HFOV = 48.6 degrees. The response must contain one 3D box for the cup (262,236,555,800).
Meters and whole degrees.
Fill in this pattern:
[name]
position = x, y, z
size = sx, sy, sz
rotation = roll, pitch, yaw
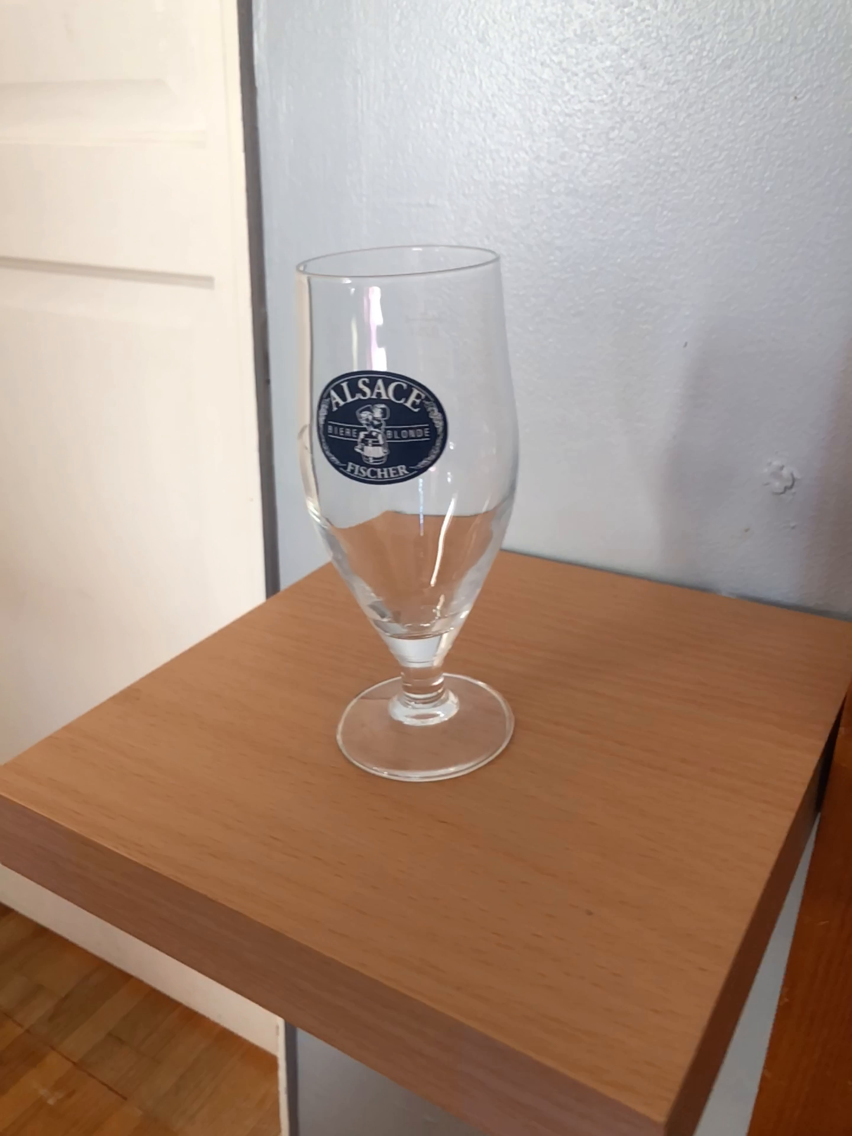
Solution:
[cup]
position = 0.003, -0.017, 0.311
size = 0.068, 0.166, 0.068
rotation = -3, 24, 1
